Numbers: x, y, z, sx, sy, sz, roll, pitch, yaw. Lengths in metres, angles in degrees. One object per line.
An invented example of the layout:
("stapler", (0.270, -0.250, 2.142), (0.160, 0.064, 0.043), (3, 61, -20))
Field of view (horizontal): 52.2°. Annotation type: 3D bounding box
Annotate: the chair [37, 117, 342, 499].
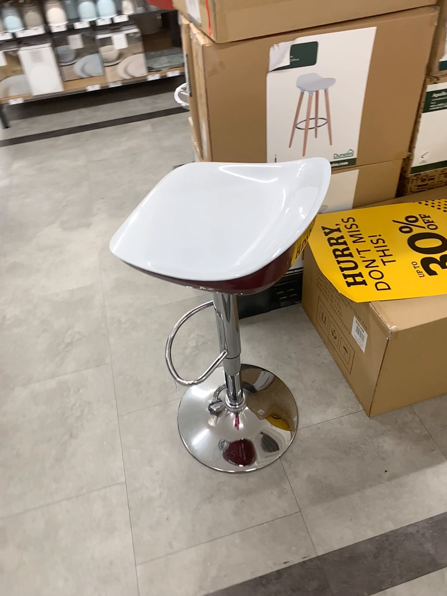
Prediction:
("chair", (-0.005, 0.054, 1.119), (0.435, 0.793, 0.438), (11, 47, 17))
